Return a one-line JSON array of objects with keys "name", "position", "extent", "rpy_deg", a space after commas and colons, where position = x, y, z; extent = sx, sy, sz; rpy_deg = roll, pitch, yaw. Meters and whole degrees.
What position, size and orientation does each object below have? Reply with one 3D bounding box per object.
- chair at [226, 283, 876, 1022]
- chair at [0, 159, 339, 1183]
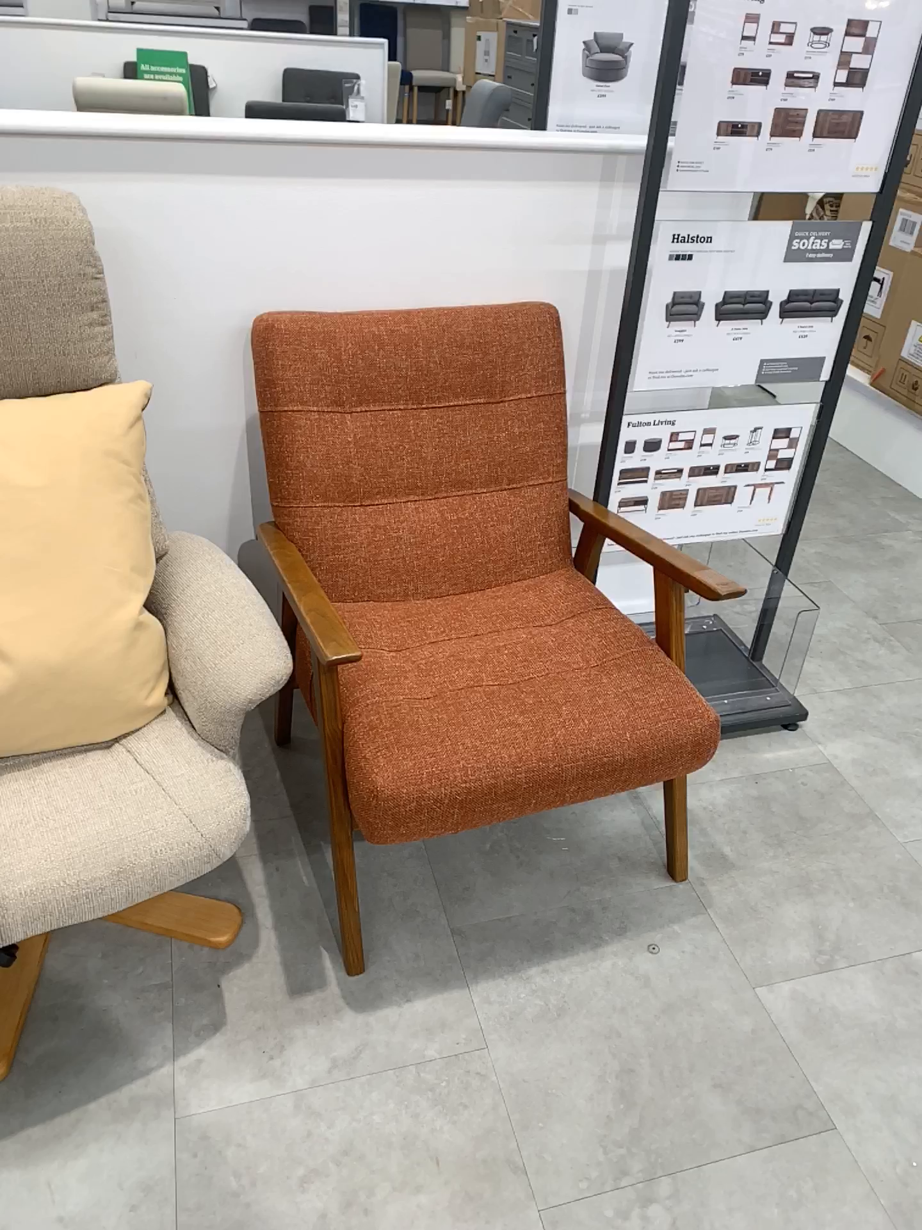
[{"name": "chair", "position": [0.046, 0.005, 1.565], "extent": [0.688, 0.885, 0.705], "rpy_deg": [-9, 35, -19]}, {"name": "chair", "position": [-0.630, 0.005, 1.259], "extent": [0.699, 1.013, 0.684], "rpy_deg": [-15, 37, -27]}]
